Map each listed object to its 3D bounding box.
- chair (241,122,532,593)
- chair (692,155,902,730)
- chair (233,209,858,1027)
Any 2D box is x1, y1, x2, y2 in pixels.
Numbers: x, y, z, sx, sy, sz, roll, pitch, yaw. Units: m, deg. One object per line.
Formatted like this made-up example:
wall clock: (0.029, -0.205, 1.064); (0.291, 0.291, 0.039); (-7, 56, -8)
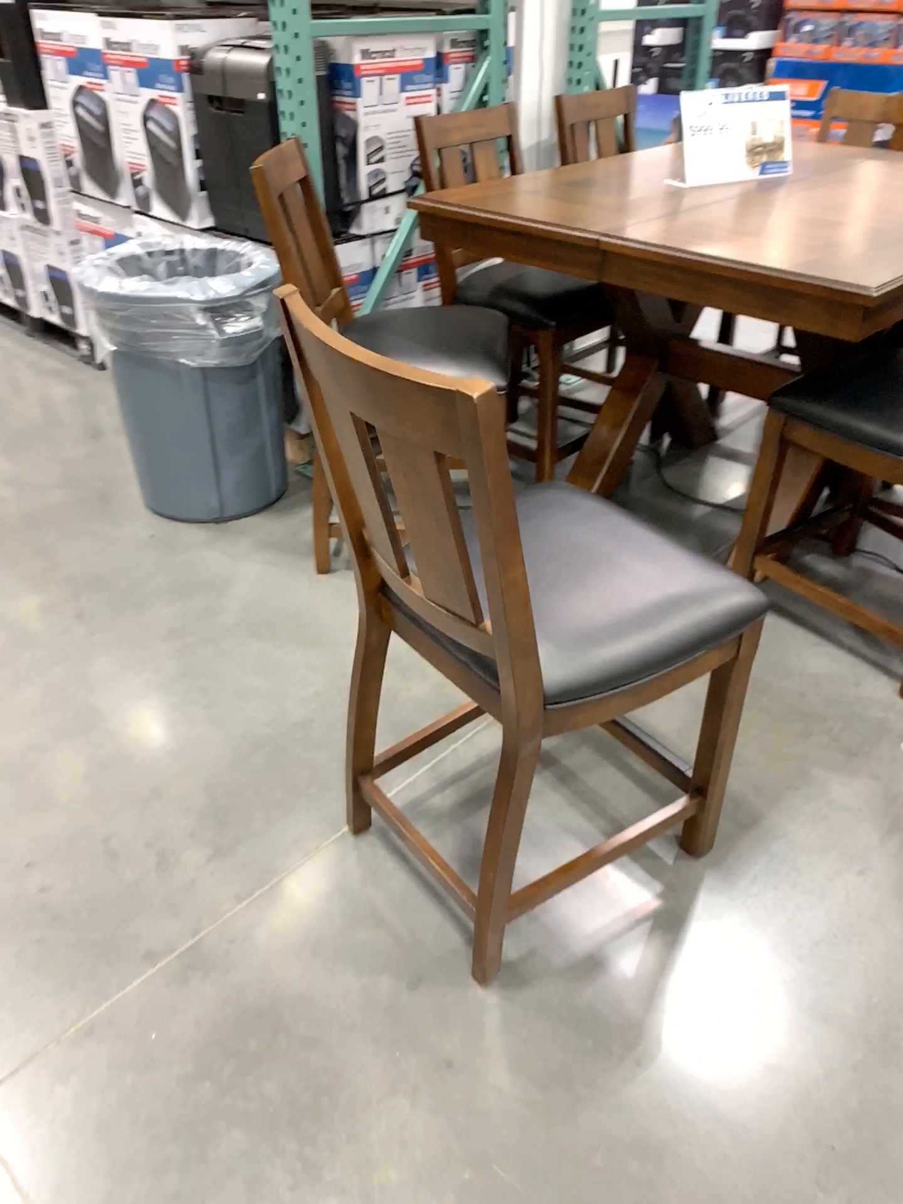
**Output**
chair: (-0.118, -0.615, 2.360); (0.587, 1.022, 0.547); (3, 34, 3)
chair: (1.044, -0.376, 2.000); (0.655, 0.952, 0.600); (-22, 40, -30)
chair: (0.108, 0.008, 1.449); (0.588, 1.022, 0.526); (-23, 41, -31)
